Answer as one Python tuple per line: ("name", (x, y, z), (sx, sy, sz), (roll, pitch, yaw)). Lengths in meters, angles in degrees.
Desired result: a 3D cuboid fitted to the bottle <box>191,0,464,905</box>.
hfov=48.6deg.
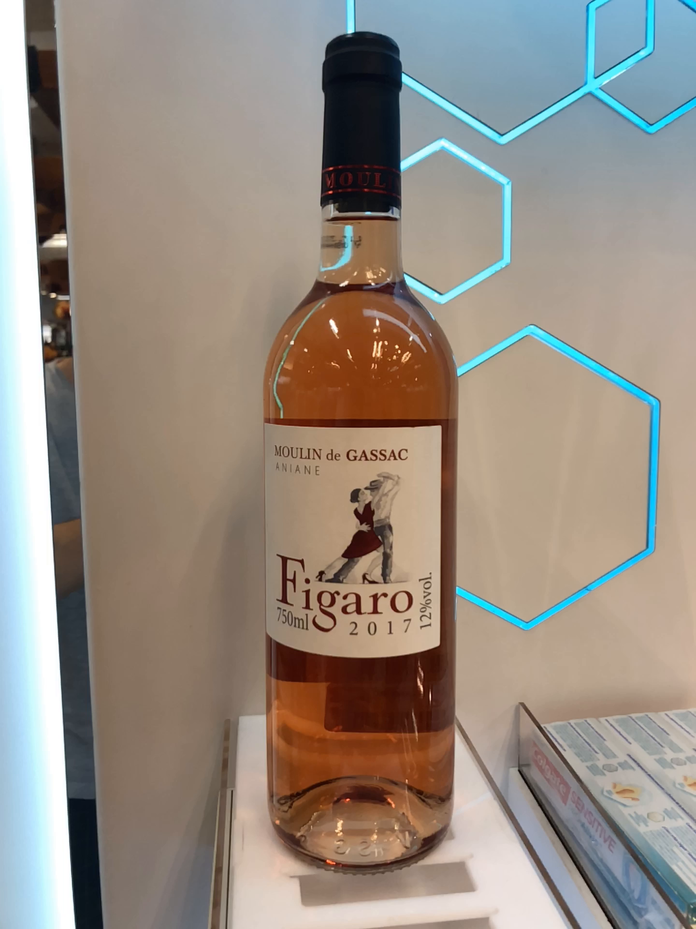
("bottle", (-0.002, -0.006, 0.313), (0.090, 0.319, 0.080), (1, 5, 12))
